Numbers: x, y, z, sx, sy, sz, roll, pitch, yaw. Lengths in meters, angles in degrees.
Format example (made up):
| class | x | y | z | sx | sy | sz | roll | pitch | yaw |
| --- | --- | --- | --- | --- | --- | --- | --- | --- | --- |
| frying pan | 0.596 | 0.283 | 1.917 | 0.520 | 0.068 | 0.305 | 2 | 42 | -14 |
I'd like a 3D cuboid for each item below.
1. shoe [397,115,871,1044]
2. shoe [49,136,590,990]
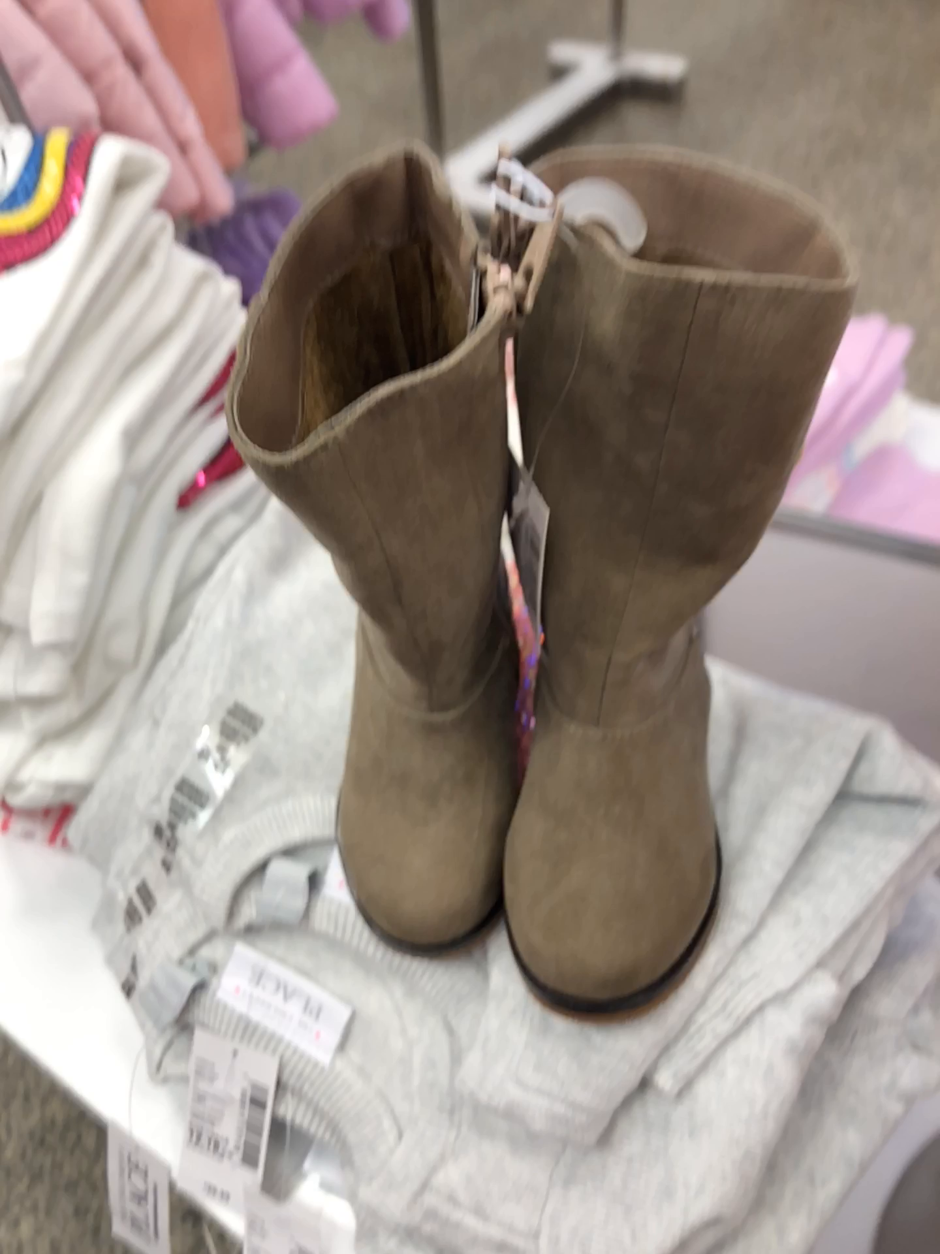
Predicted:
| class | x | y | z | sx | sy | sz | roll | pitch | yaw |
| --- | --- | --- | --- | --- | --- | --- | --- | --- | --- |
| shoe | 0.045 | -0.006 | 0.273 | 0.070 | 0.184 | 0.148 | 3 | 48 | 11 |
| shoe | -0.014 | -0.007 | 0.280 | 0.070 | 0.164 | 0.155 | 4 | 59 | 11 |
